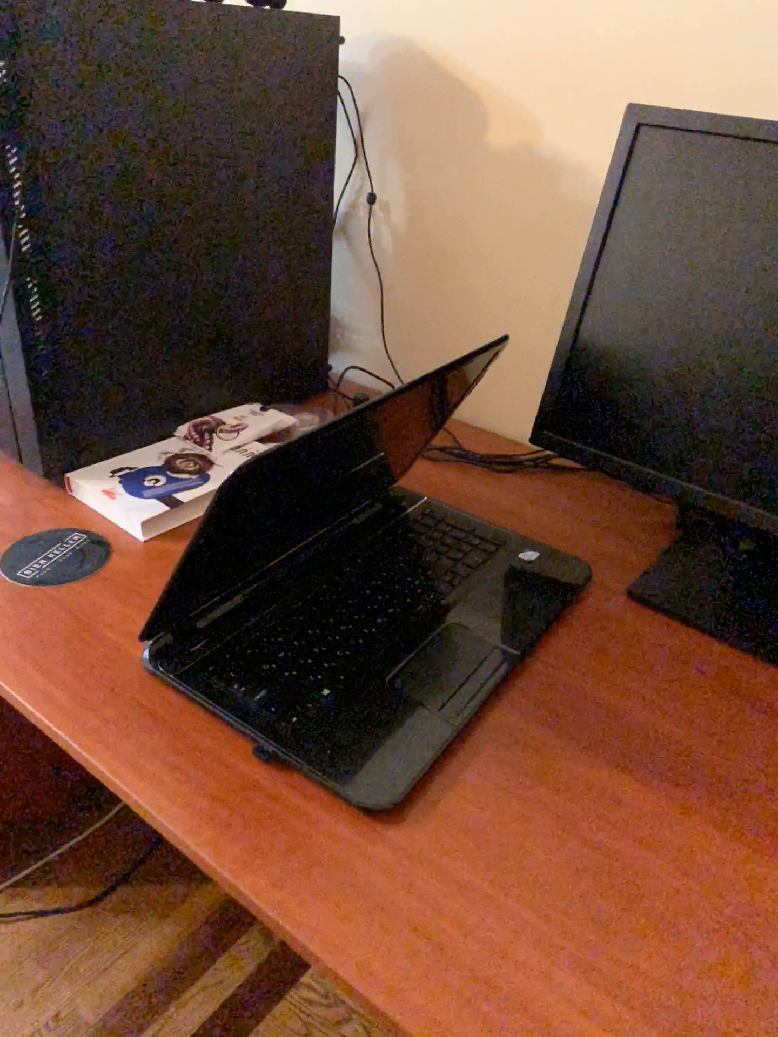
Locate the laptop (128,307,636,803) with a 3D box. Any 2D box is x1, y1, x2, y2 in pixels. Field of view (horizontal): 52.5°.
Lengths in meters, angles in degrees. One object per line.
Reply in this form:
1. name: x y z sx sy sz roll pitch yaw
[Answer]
1. laptop: 0.011 -0.010 0.641 0.222 0.198 0.349 23 36 27
